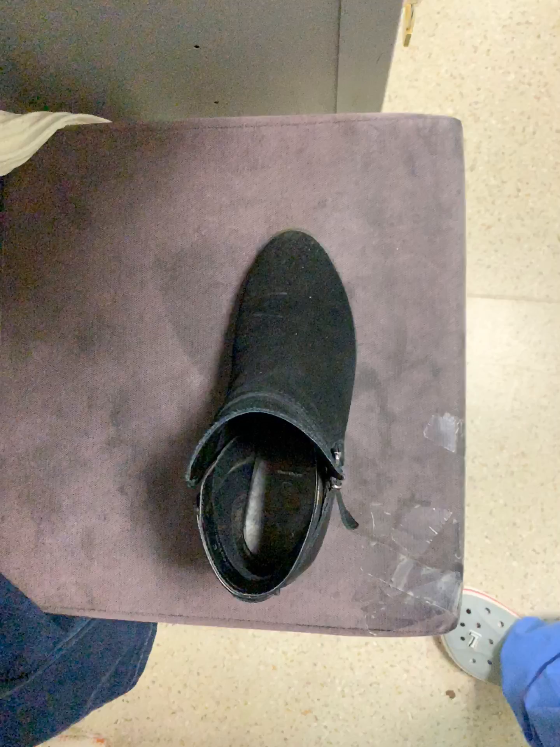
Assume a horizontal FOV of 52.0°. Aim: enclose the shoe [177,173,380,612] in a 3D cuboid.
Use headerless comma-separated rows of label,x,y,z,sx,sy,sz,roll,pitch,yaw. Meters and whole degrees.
shoe,0.005,0.010,0.382,0.100,0.138,0.235,2,86,5
